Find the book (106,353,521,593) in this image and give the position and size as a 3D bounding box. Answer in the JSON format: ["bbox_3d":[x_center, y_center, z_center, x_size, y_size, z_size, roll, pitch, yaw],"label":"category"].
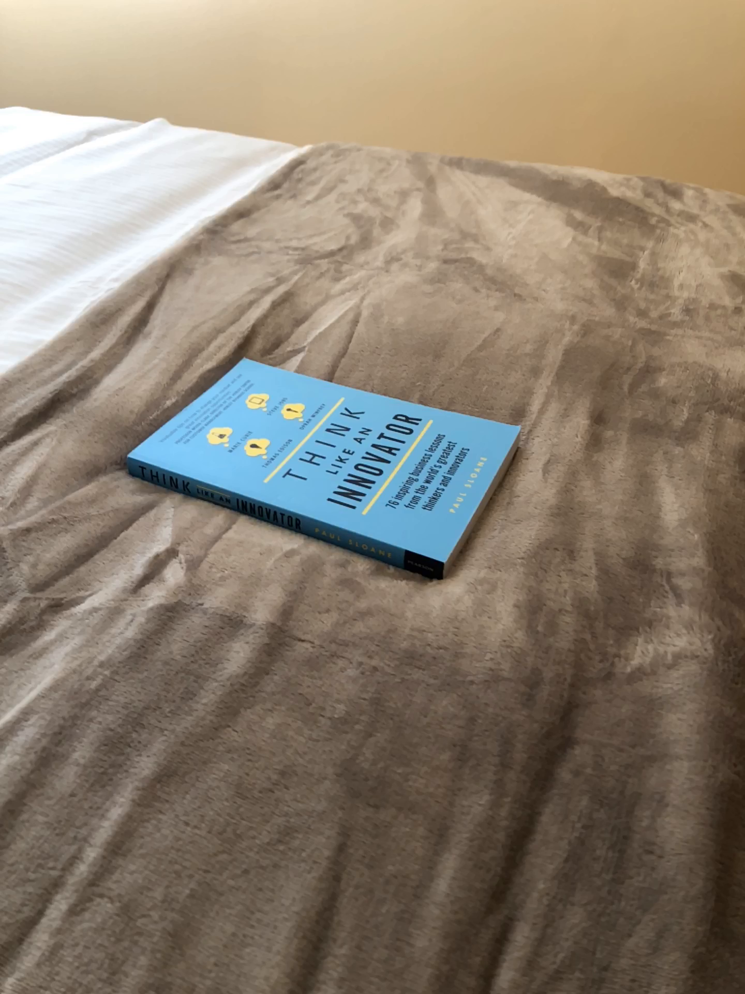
[{"bbox_3d":[-0.034,-0.027,0.521,0.220,0.020,0.141,16,44,19],"label":"book"}]
